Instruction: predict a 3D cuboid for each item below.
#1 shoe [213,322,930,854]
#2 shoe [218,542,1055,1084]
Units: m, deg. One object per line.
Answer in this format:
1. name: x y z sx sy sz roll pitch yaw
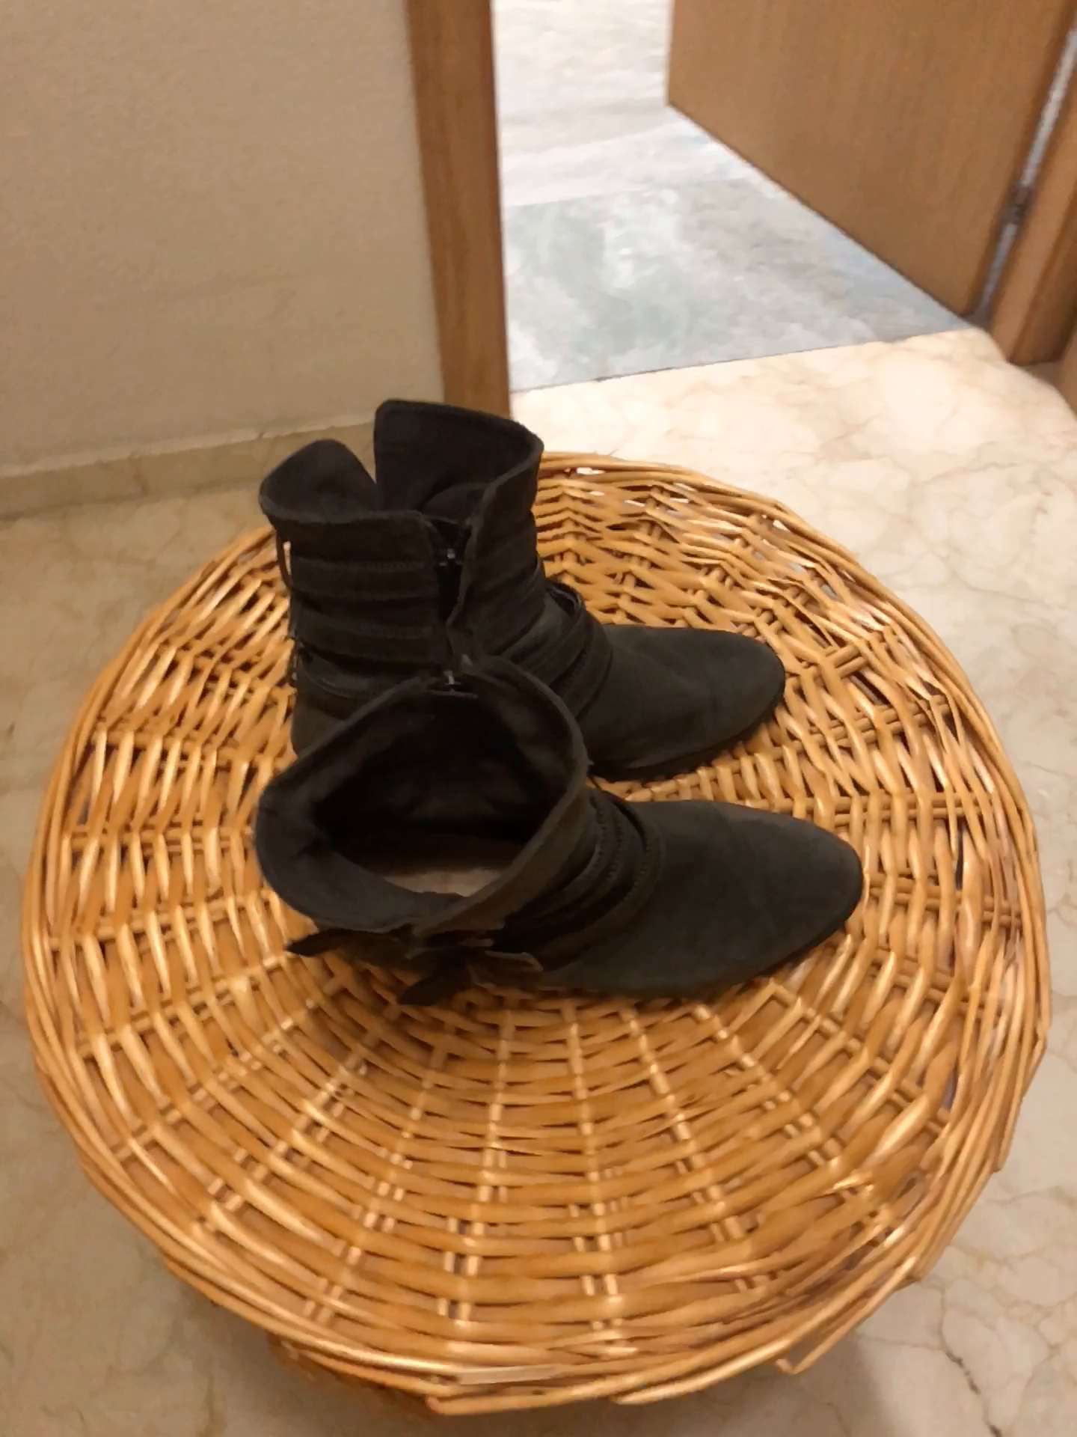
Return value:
1. shoe: 0.009 -0.053 0.531 0.260 0.170 0.110 -10 55 -6
2. shoe: 0.028 0.046 0.472 0.260 0.170 0.110 -10 63 -6
